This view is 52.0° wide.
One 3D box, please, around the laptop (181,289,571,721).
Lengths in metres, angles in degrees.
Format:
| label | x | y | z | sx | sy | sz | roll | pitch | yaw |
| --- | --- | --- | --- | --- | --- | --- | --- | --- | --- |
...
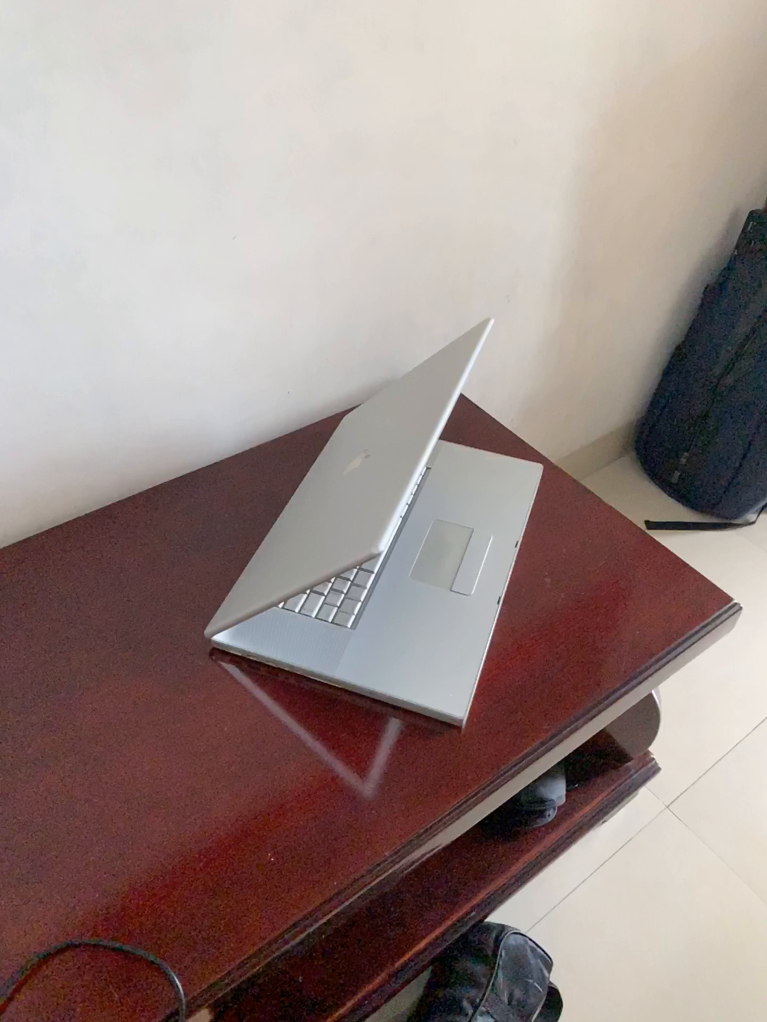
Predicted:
| label | x | y | z | sx | sy | sz | roll | pitch | yaw |
| --- | --- | --- | --- | --- | --- | --- | --- | --- | --- |
| laptop | 0.019 | -0.034 | 0.834 | 0.265 | 0.193 | 0.401 | 15 | 44 | 11 |
